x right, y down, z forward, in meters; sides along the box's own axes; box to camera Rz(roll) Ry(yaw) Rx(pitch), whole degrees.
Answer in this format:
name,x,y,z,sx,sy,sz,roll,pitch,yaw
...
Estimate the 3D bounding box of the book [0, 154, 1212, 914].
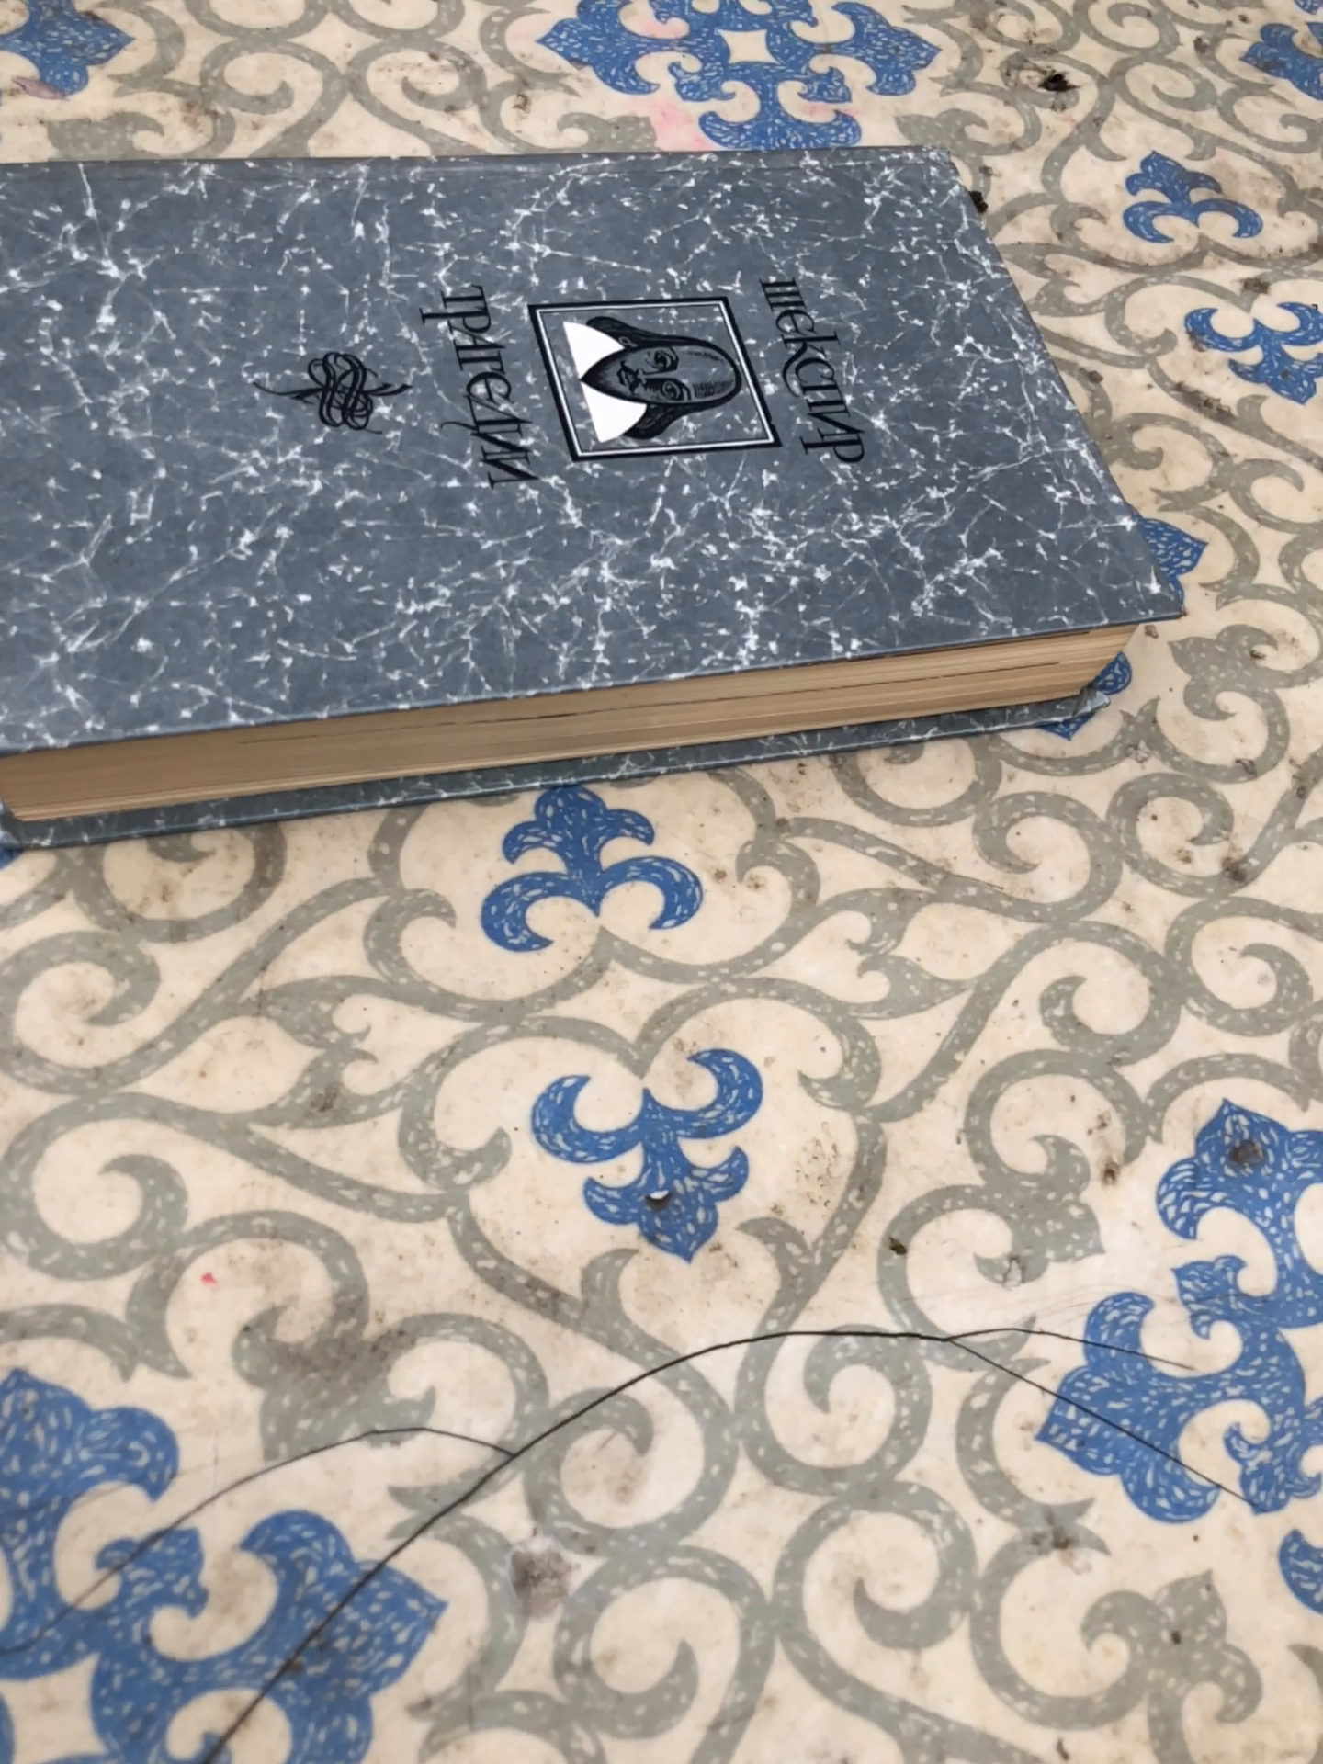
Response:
name,x,y,z,sx,sy,sz,roll,pitch,yaw
book,-0.021,-0.076,0.277,0.207,0.033,0.134,-8,63,-14
